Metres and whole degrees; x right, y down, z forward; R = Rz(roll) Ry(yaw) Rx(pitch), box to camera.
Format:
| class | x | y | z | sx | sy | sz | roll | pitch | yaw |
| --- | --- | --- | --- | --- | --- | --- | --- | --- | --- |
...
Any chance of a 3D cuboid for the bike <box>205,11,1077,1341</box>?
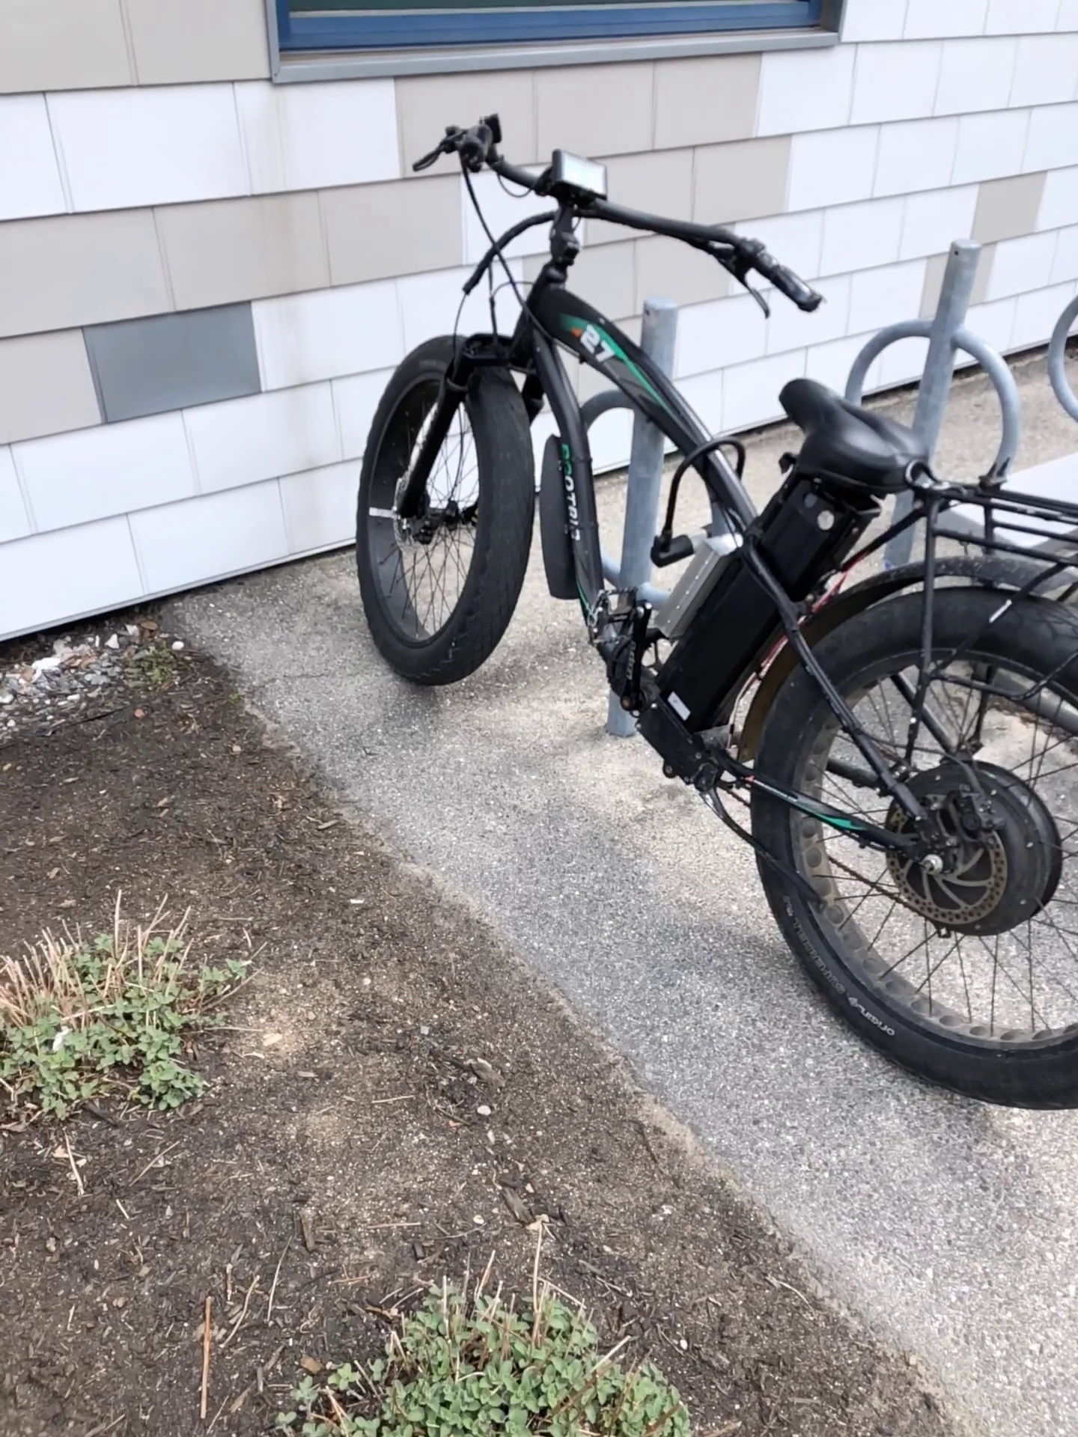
| class | x | y | z | sx | sy | sz | roll | pitch | yaw |
| --- | --- | --- | --- | --- | --- | --- | --- | --- | --- |
| bike | 0.353 | -0.334 | 1.918 | 0.914 | 1.132 | 1.864 | -22 | 45 | -30 |
